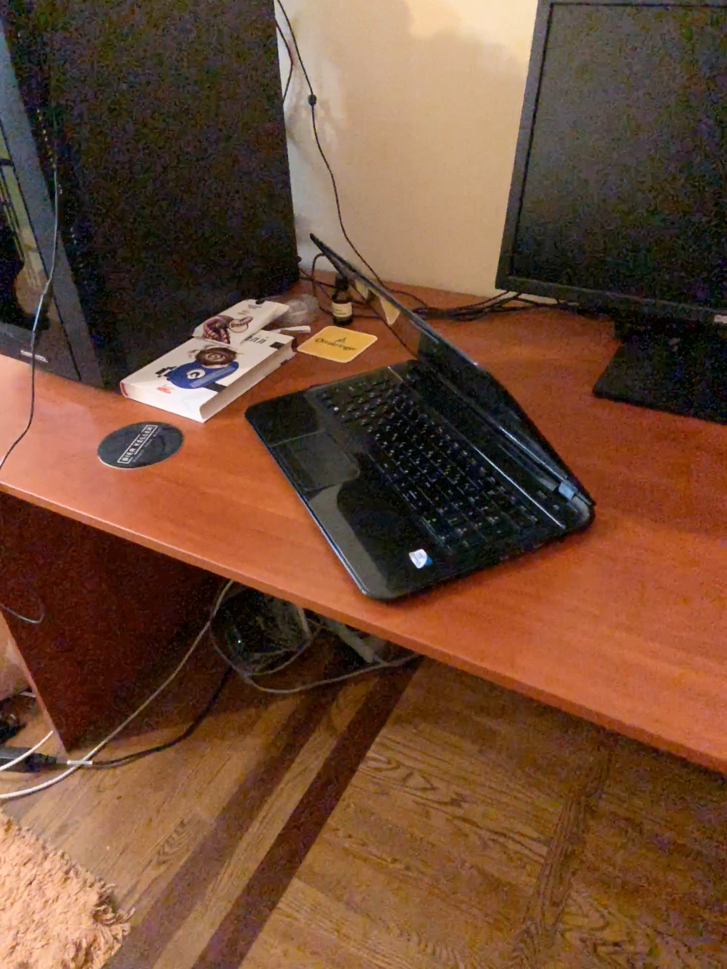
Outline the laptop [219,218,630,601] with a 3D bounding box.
[{"bbox_3d":[0.035,-0.108,0.765,0.244,0.194,0.372,-18,39,-19],"label":"laptop"}]
